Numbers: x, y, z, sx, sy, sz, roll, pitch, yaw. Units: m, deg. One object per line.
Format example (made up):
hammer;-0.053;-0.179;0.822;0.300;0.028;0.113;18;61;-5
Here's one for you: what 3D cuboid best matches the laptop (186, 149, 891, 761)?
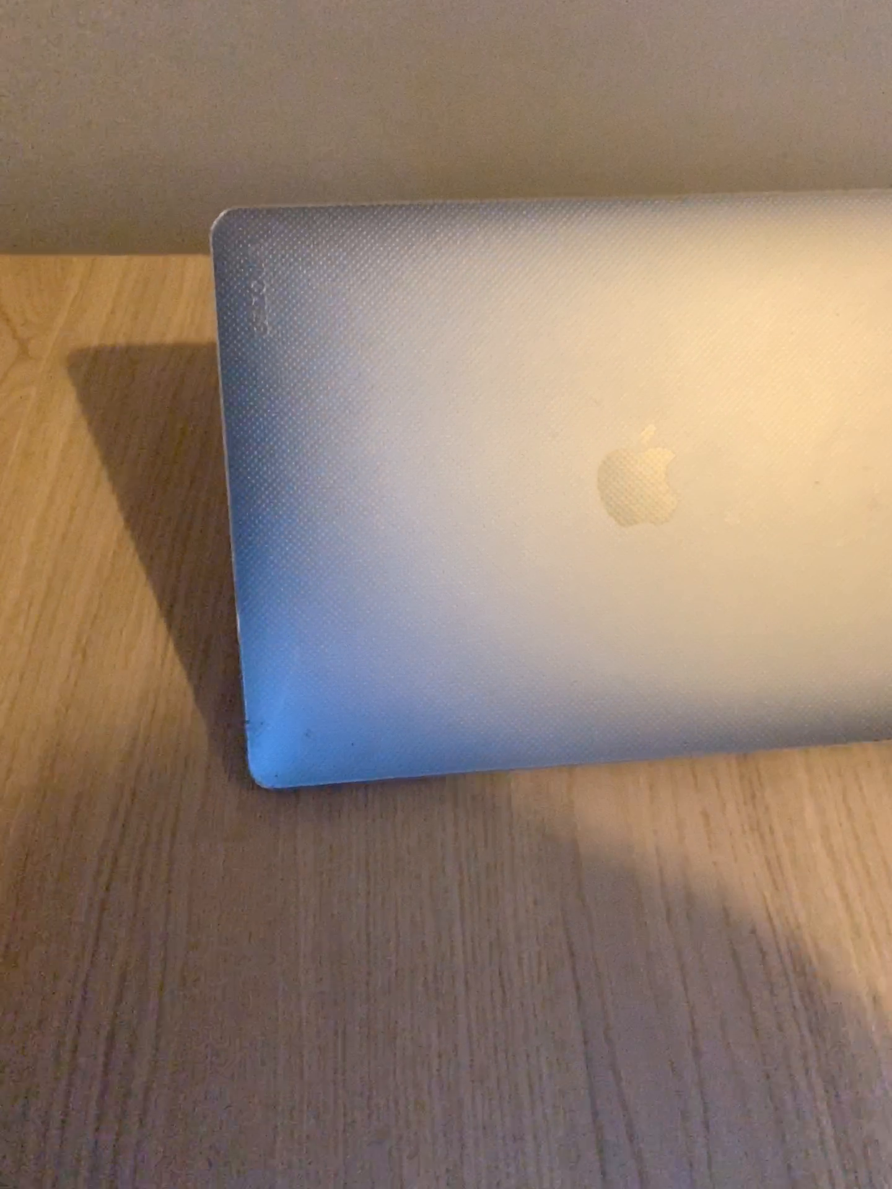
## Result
laptop;0.070;-0.065;0.377;0.309;0.127;0.207;-4;52;-5
